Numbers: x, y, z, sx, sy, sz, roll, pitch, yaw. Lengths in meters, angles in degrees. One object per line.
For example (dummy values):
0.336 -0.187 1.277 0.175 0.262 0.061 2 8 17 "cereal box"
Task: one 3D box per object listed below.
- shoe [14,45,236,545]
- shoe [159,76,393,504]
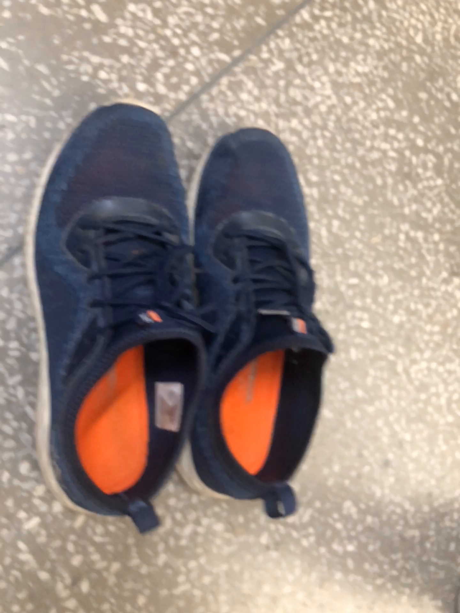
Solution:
-0.071 -0.005 0.327 0.113 0.100 0.249 1 89 -24 "shoe"
0.029 -0.007 0.372 0.123 0.100 0.249 3 88 -24 "shoe"
